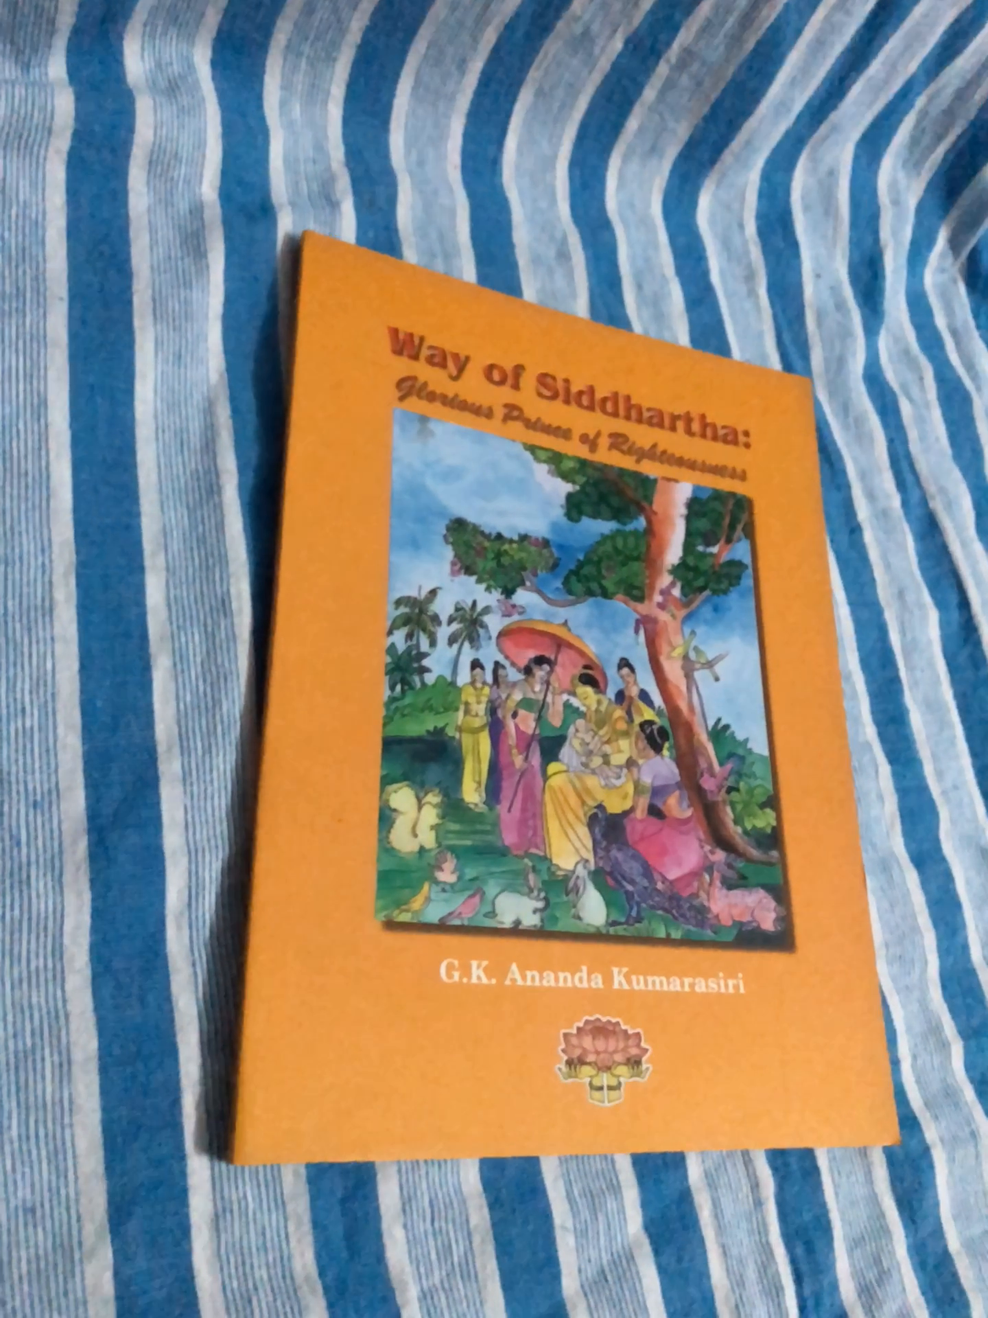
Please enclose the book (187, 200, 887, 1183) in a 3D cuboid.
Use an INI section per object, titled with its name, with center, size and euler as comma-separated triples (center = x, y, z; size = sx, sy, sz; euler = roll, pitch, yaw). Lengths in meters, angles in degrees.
[book]
center = 0.018, 0.003, 0.284
size = 0.171, 0.010, 0.230
euler = 9, 67, -25
